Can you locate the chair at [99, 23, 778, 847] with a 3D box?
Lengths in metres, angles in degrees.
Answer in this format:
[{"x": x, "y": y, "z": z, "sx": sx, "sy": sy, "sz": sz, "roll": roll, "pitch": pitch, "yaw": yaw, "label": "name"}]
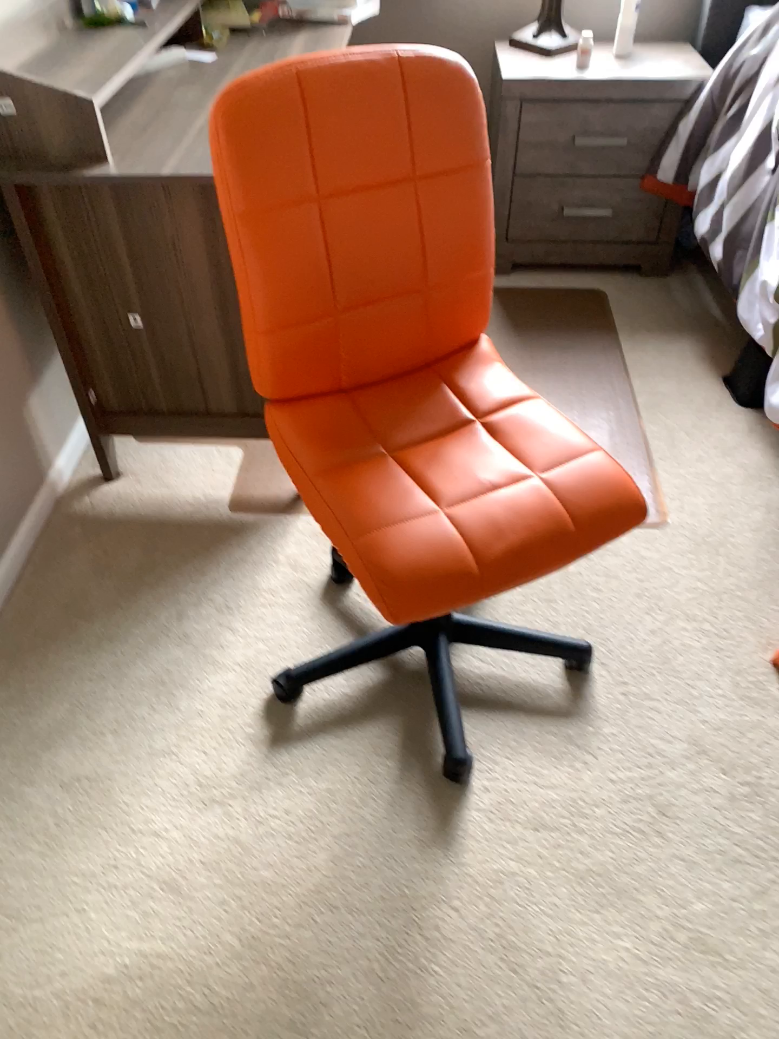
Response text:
[{"x": 0.062, "y": -0.126, "z": 1.191, "sx": 0.615, "sy": 0.900, "sz": 0.621, "roll": -21, "pitch": 47, "yaw": -21, "label": "chair"}]
